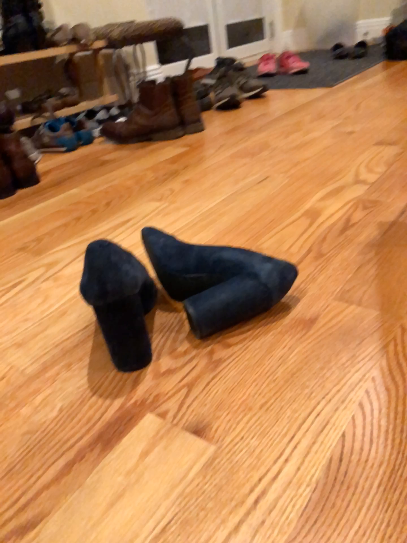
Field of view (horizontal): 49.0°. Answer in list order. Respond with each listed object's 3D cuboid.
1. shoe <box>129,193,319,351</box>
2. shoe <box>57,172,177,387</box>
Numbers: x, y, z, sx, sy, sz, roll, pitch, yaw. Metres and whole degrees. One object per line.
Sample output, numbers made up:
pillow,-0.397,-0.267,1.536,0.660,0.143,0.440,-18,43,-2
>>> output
shoe,0.017,-0.015,0.561,0.152,0.080,0.205,-20,31,-18
shoe,-0.100,-0.007,0.520,0.080,0.146,0.227,-13,29,-7
